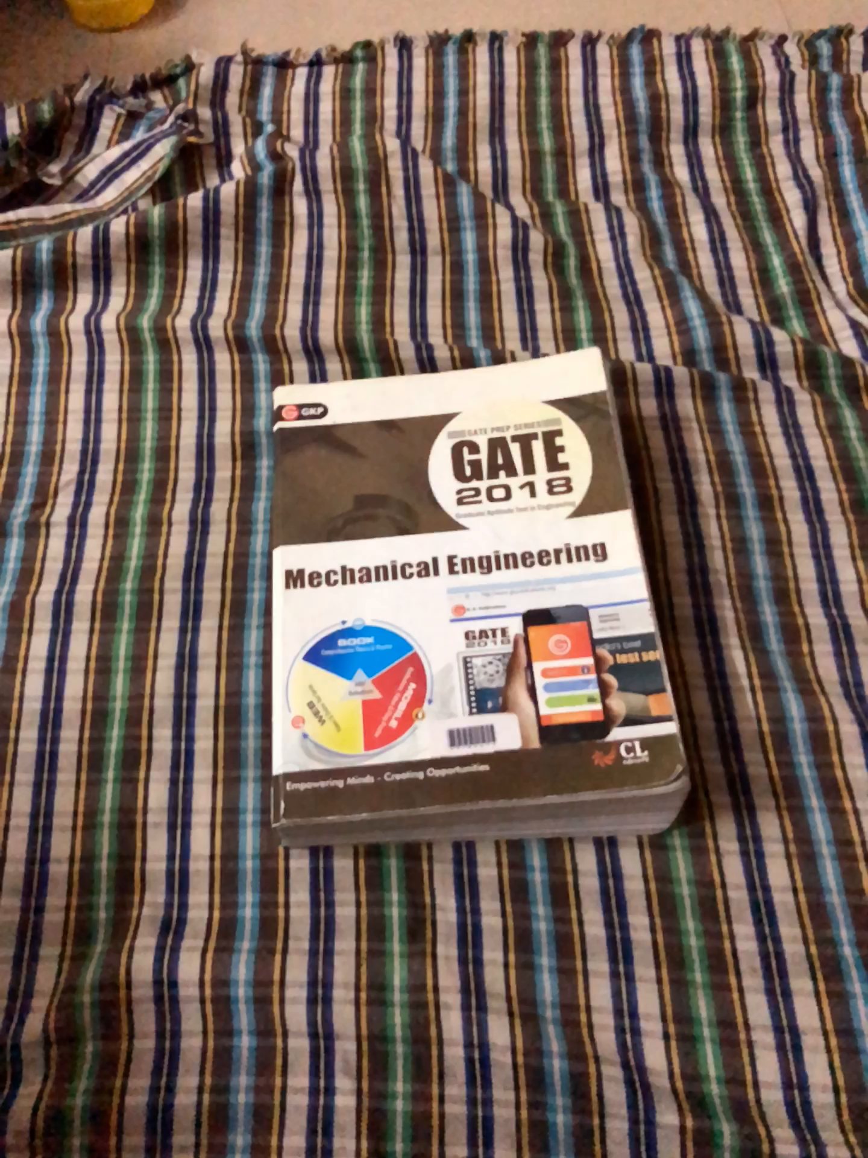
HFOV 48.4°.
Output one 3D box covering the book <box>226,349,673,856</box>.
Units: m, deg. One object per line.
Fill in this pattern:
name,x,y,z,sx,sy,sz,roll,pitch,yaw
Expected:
book,0.000,0.006,0.547,0.210,0.076,0.265,-5,63,0
